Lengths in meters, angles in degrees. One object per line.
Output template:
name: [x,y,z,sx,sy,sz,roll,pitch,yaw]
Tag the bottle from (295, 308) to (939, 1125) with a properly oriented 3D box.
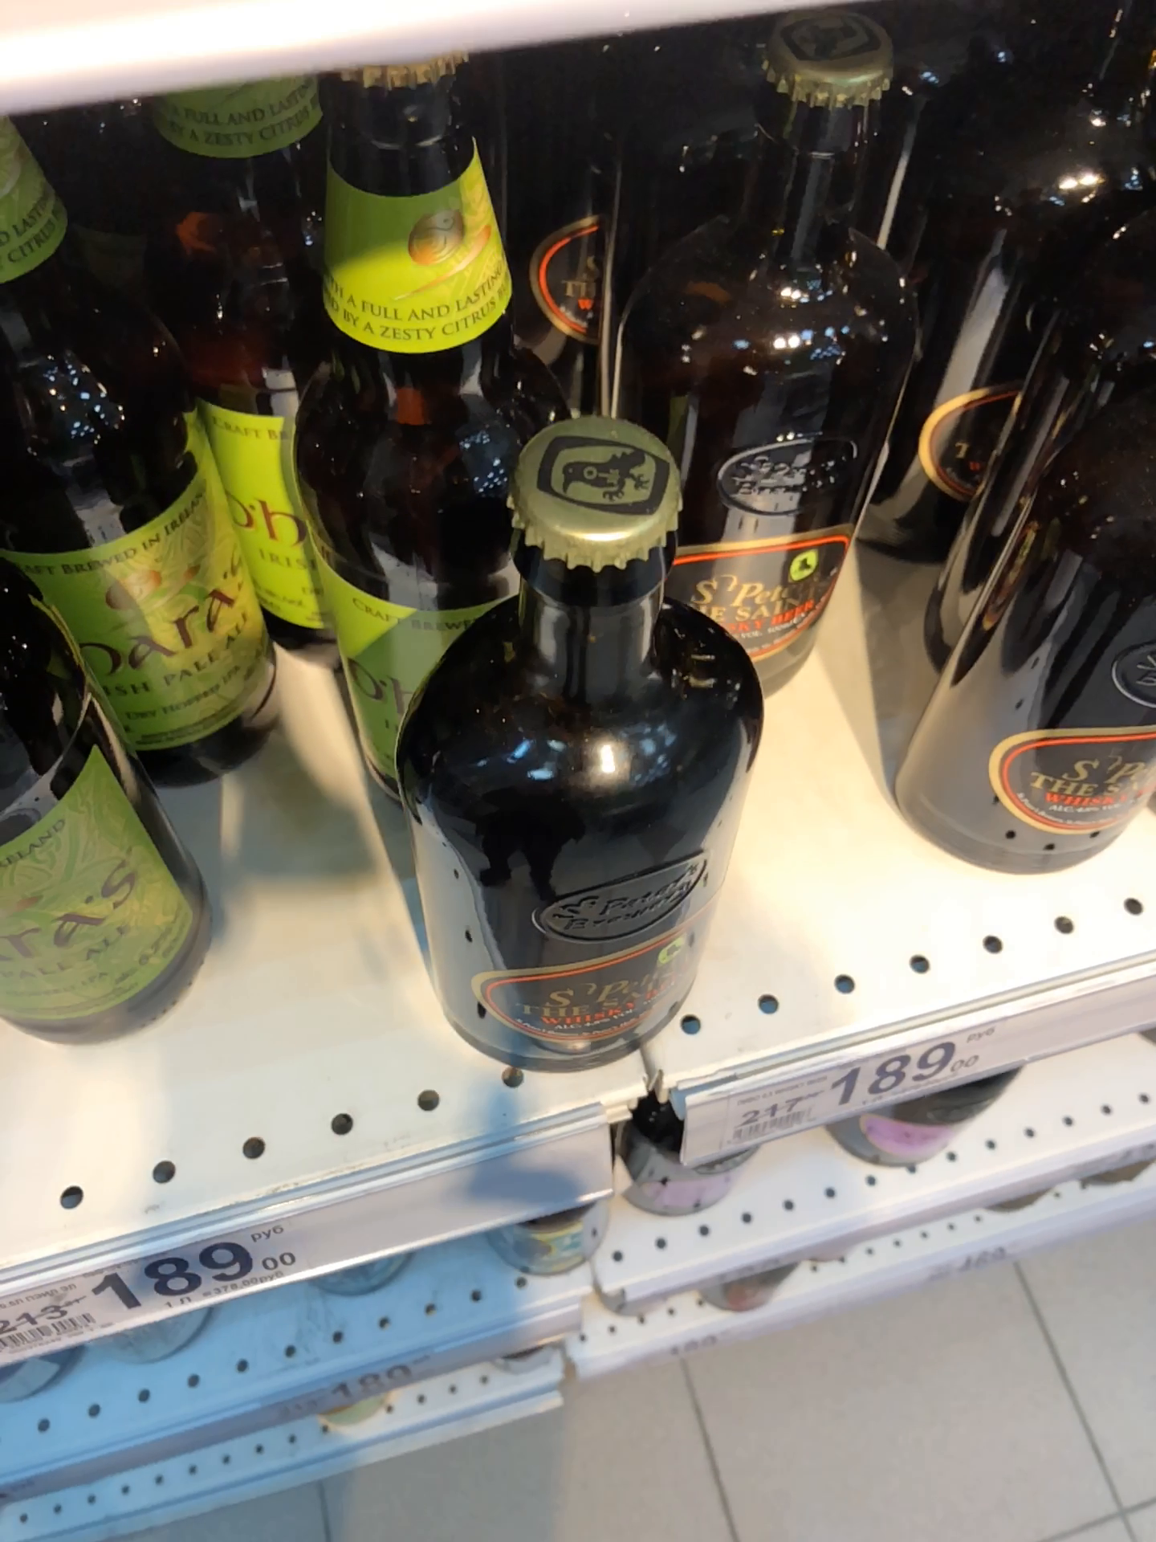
bottle: [0.001,0.011,0.305,0.090,0.229,0.060,-13,61,-10]
